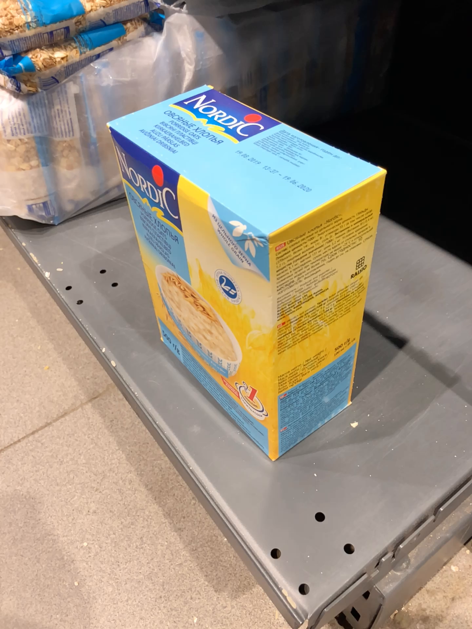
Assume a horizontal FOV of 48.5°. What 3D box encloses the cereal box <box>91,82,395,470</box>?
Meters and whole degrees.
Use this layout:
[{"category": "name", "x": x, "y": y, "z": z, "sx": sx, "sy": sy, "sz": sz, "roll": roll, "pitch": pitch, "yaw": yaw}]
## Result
[{"category": "cereal box", "x": 0.000, "y": -0.024, "z": 0.330, "sx": 0.080, "sy": 0.179, "sz": 0.151, "roll": -30, "pitch": 50, "yaw": -24}]
